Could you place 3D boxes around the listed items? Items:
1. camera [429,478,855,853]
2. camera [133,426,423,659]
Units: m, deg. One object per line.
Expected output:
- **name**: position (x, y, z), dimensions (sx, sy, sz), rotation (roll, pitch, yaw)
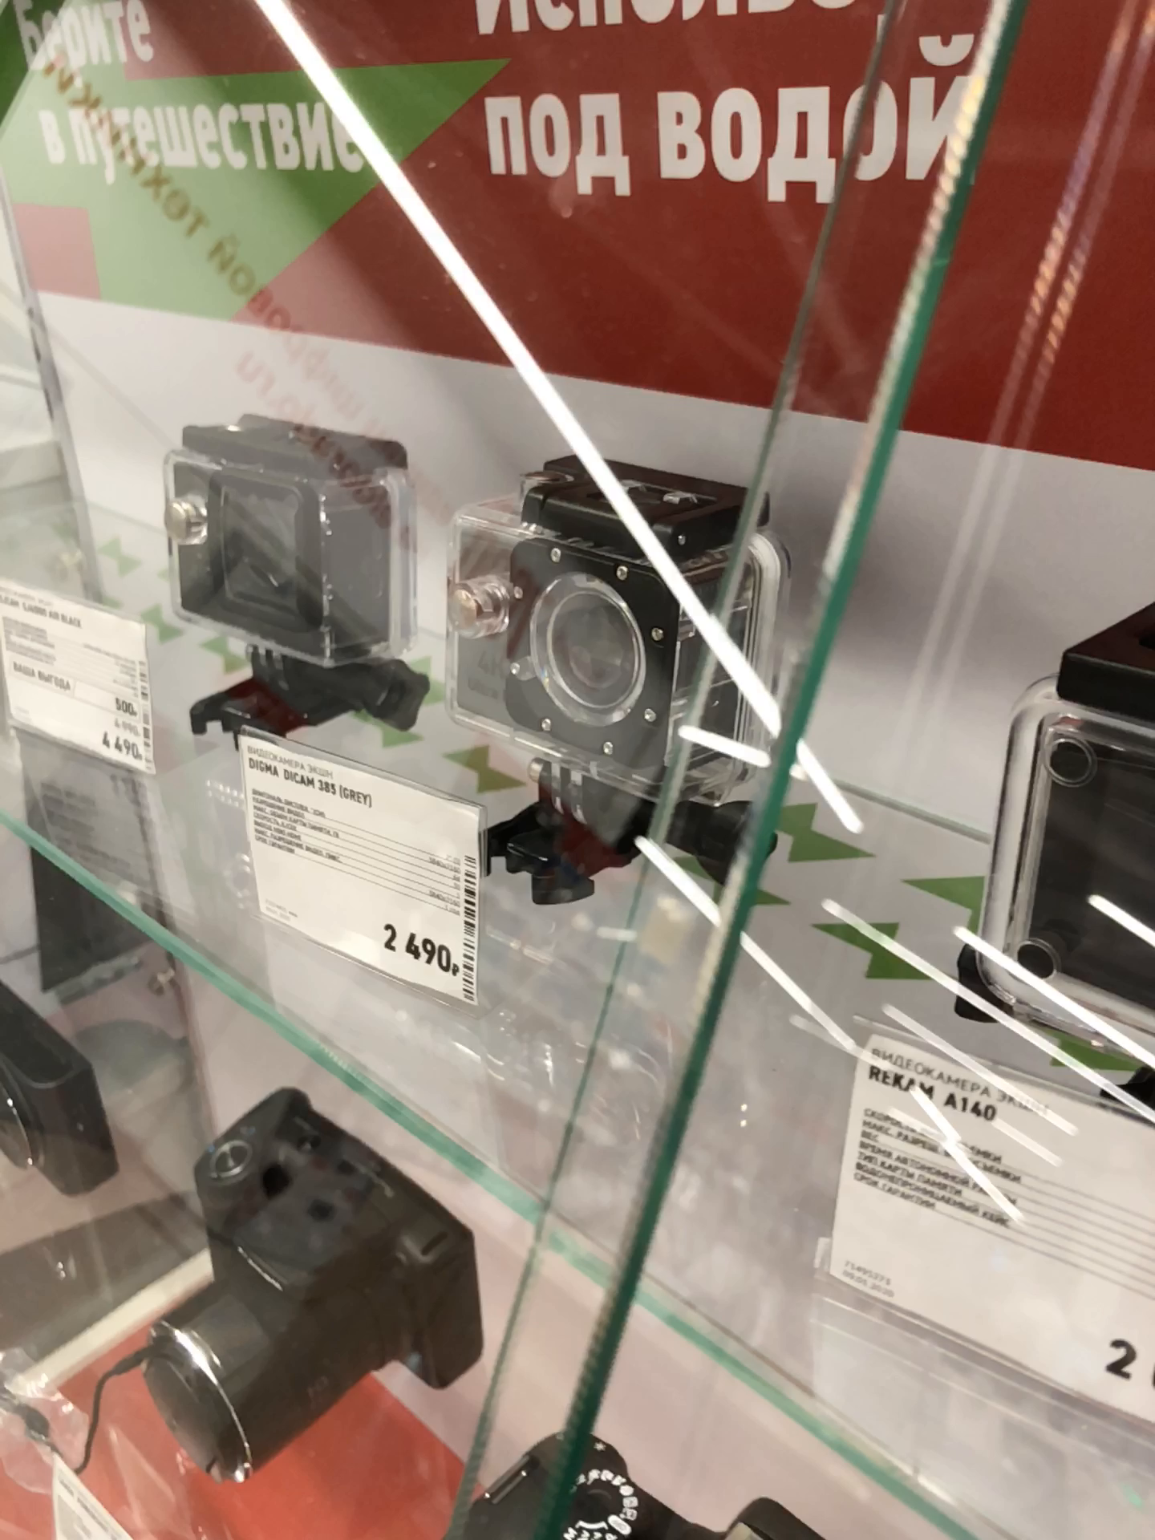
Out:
- **camera**: position (0.012, -0.027, 0.282), dimensions (0.077, 0.055, 0.048), rotation (22, 31, 38)
- **camera**: position (-0.079, -0.062, 0.340), dimensions (0.072, 0.046, 0.036), rotation (19, 26, 35)
